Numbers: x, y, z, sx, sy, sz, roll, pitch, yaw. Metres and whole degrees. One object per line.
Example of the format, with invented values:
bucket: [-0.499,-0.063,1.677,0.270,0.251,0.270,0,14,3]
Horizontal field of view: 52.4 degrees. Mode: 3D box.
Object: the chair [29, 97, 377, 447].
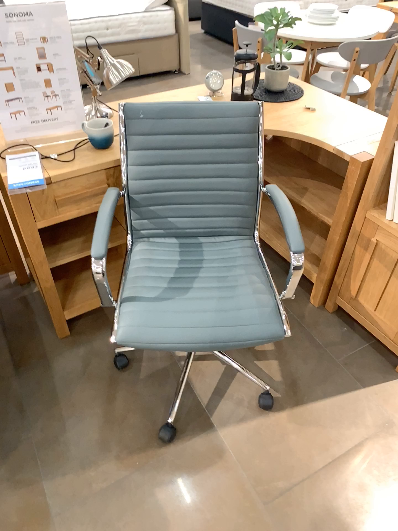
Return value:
chair: [-0.009,0.025,1.330,0.664,0.883,0.714,-1,41,-3]
